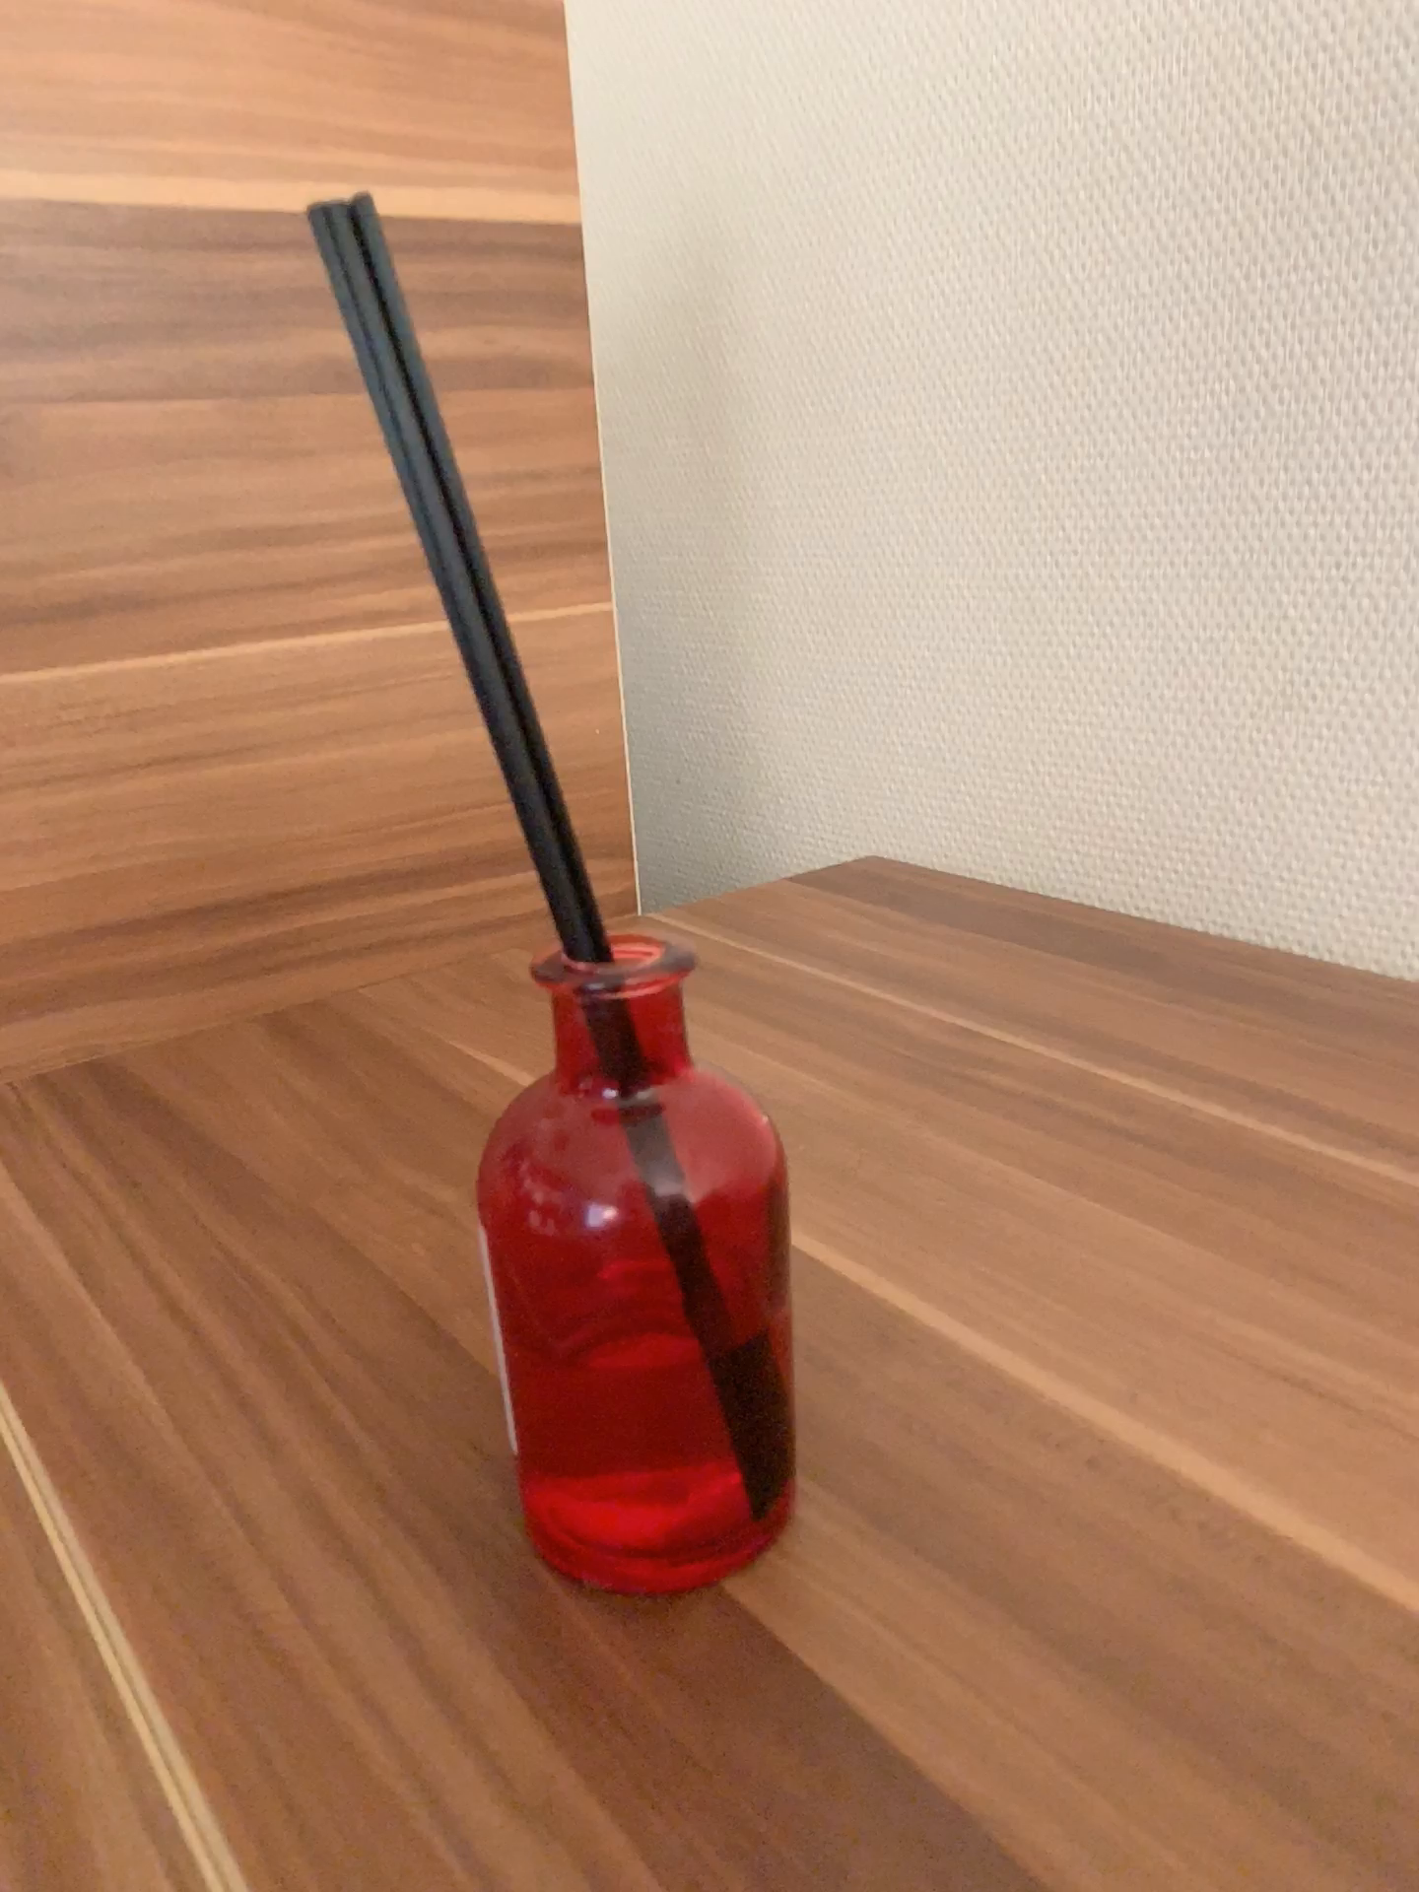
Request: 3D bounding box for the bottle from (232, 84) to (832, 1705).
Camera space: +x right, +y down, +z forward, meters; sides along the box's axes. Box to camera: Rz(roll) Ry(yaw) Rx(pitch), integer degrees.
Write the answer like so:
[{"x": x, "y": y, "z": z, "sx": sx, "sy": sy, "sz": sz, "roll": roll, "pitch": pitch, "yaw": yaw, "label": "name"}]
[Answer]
[{"x": -0.023, "y": 0.000, "z": 0.243, "sx": 0.060, "sy": 0.239, "sz": 0.050, "roll": -14, "pitch": 20, "yaw": -29, "label": "bottle"}]
